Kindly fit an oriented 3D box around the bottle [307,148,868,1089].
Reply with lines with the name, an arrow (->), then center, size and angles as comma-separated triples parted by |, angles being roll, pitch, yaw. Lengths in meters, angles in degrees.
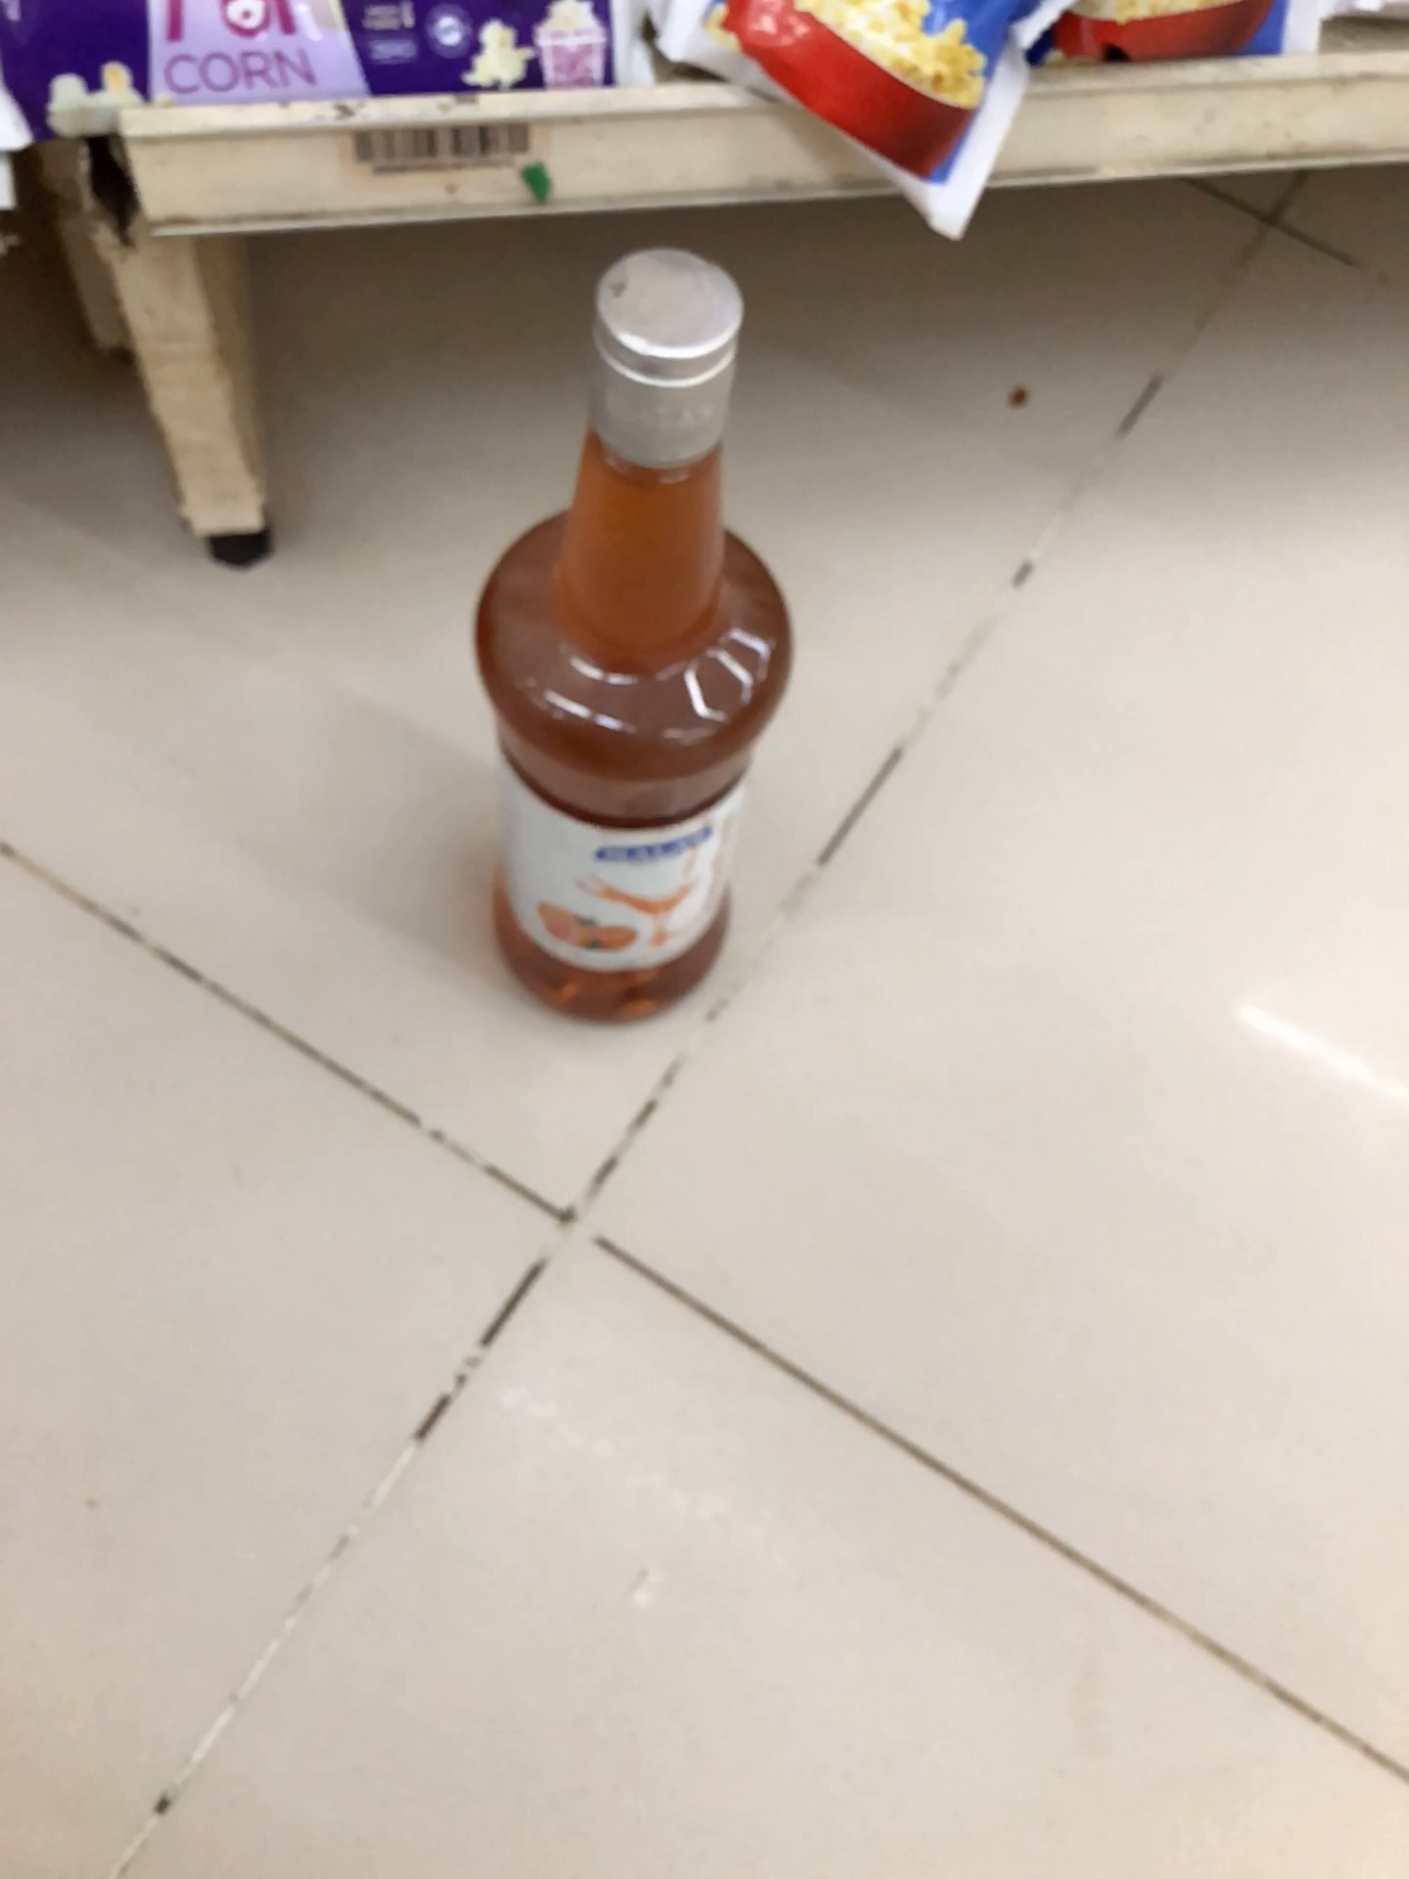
bottle -> -0.034, -0.057, 0.435 | 0.090, 0.289, 0.090 | 2, 66, -4
